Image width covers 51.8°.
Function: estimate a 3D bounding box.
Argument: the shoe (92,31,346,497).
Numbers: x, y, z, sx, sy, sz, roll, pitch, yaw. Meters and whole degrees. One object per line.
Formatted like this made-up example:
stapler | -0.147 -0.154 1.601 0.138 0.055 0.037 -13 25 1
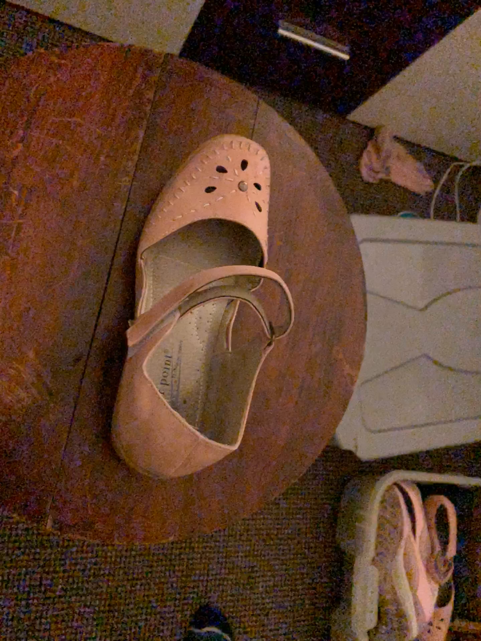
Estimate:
shoe | -0.012 -0.034 0.341 0.102 0.092 0.272 15 75 -22
